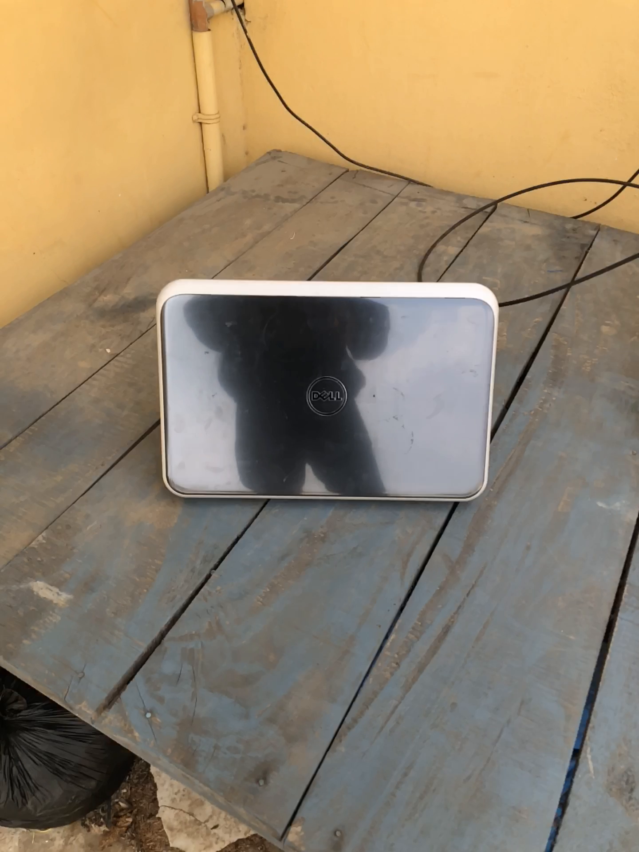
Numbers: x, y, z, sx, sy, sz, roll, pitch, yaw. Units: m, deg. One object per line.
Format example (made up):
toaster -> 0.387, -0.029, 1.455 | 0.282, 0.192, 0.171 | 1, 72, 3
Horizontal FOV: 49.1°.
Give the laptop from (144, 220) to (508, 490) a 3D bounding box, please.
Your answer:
laptop -> 0.010, -0.084, 0.808 | 0.347, 0.206, 0.217 | 1, 44, 1
